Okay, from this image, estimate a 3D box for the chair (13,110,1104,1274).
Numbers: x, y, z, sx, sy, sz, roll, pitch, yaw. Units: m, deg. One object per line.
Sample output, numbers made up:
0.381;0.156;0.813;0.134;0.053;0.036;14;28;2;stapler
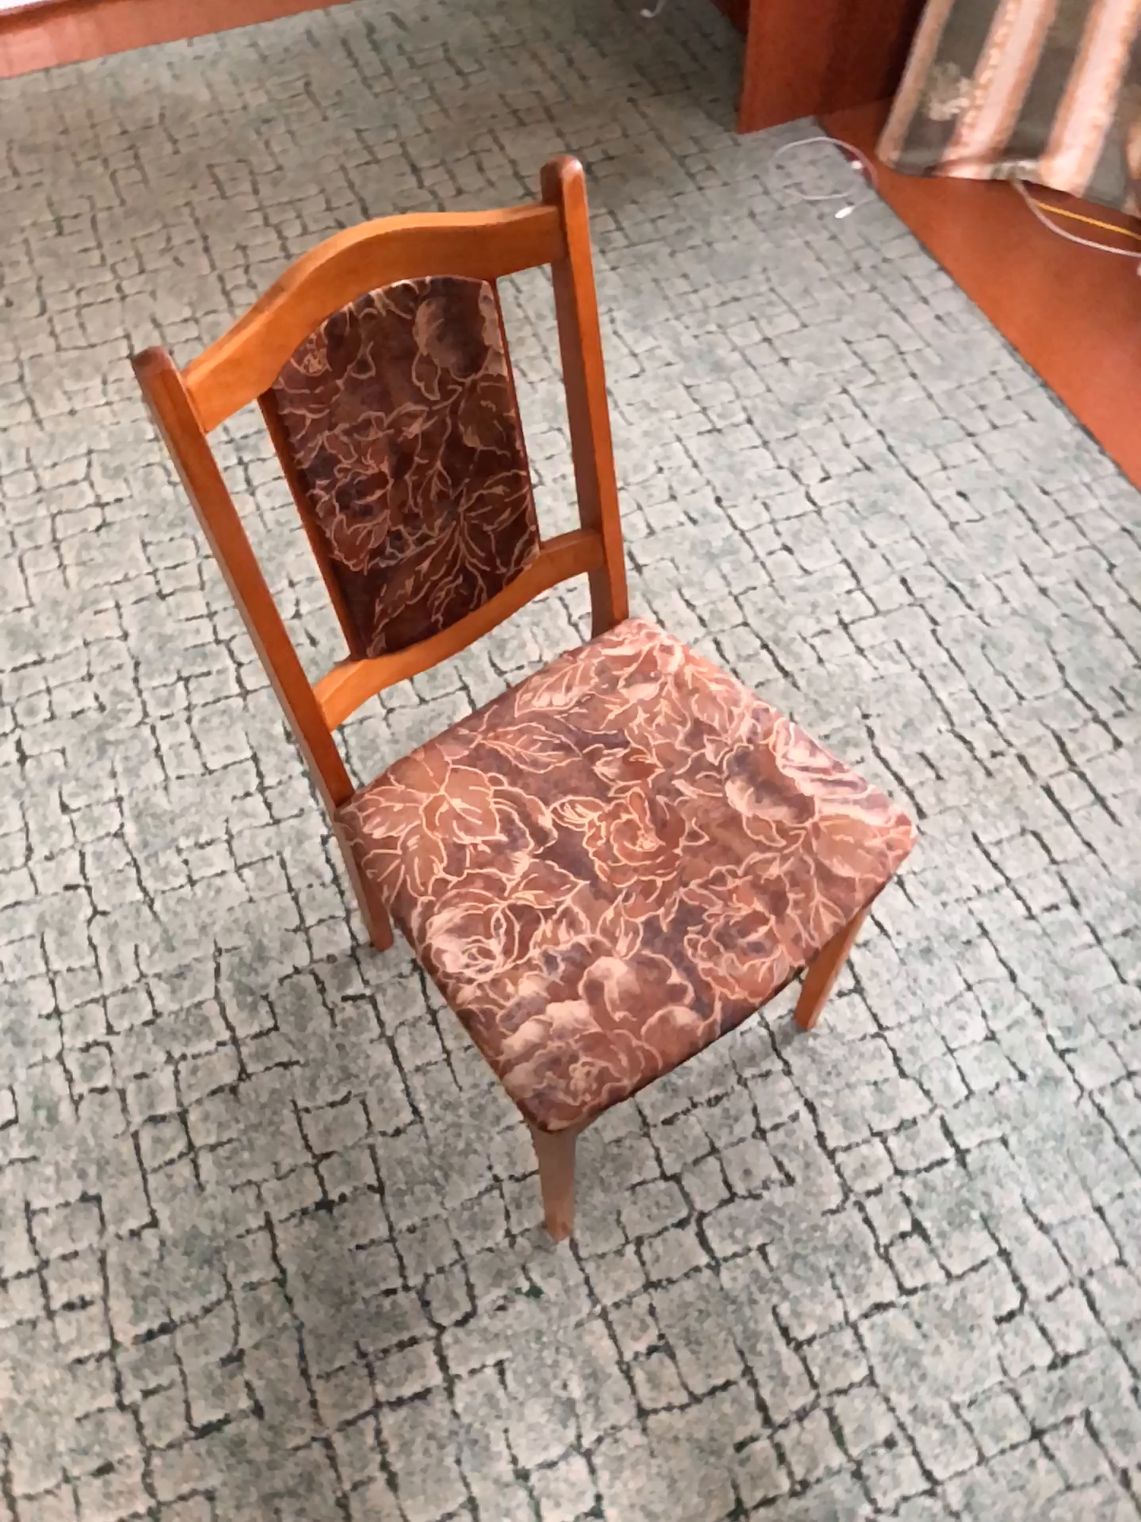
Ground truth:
-0.020;0.015;1.192;0.481;0.875;0.552;-33;63;-18;chair
